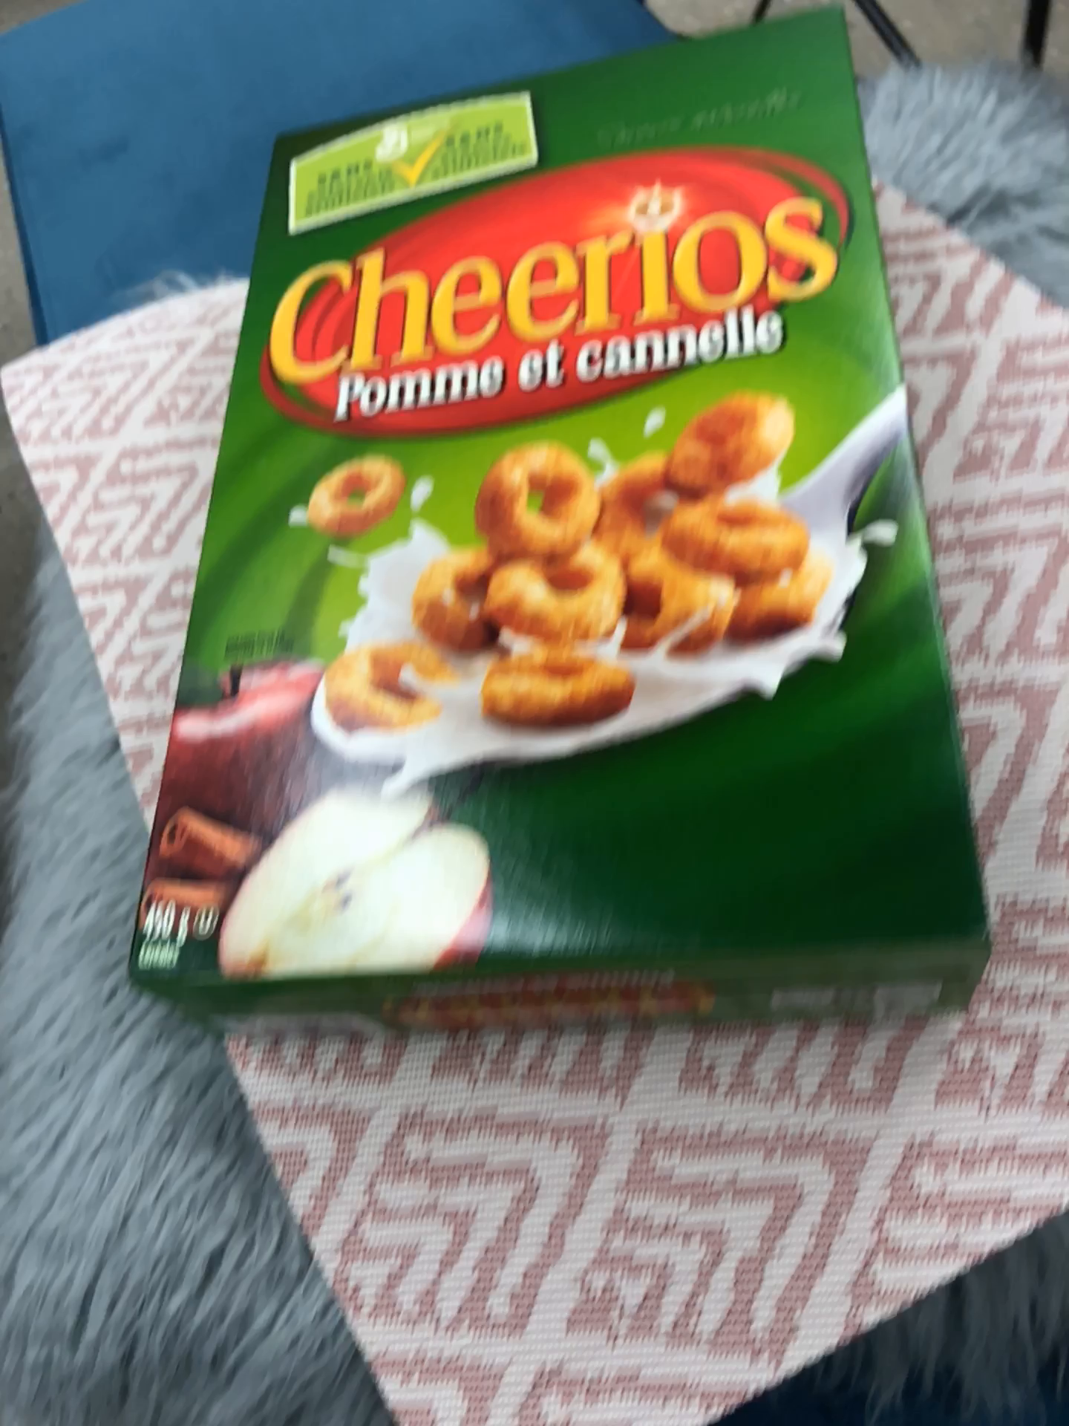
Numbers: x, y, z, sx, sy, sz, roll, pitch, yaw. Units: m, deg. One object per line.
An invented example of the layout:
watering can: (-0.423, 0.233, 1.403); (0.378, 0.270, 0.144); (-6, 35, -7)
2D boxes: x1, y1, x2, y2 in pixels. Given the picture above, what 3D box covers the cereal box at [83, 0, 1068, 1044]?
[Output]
cereal box: (0.012, -0.074, 0.341); (0.210, 0.070, 0.310); (-5, 64, 10)
